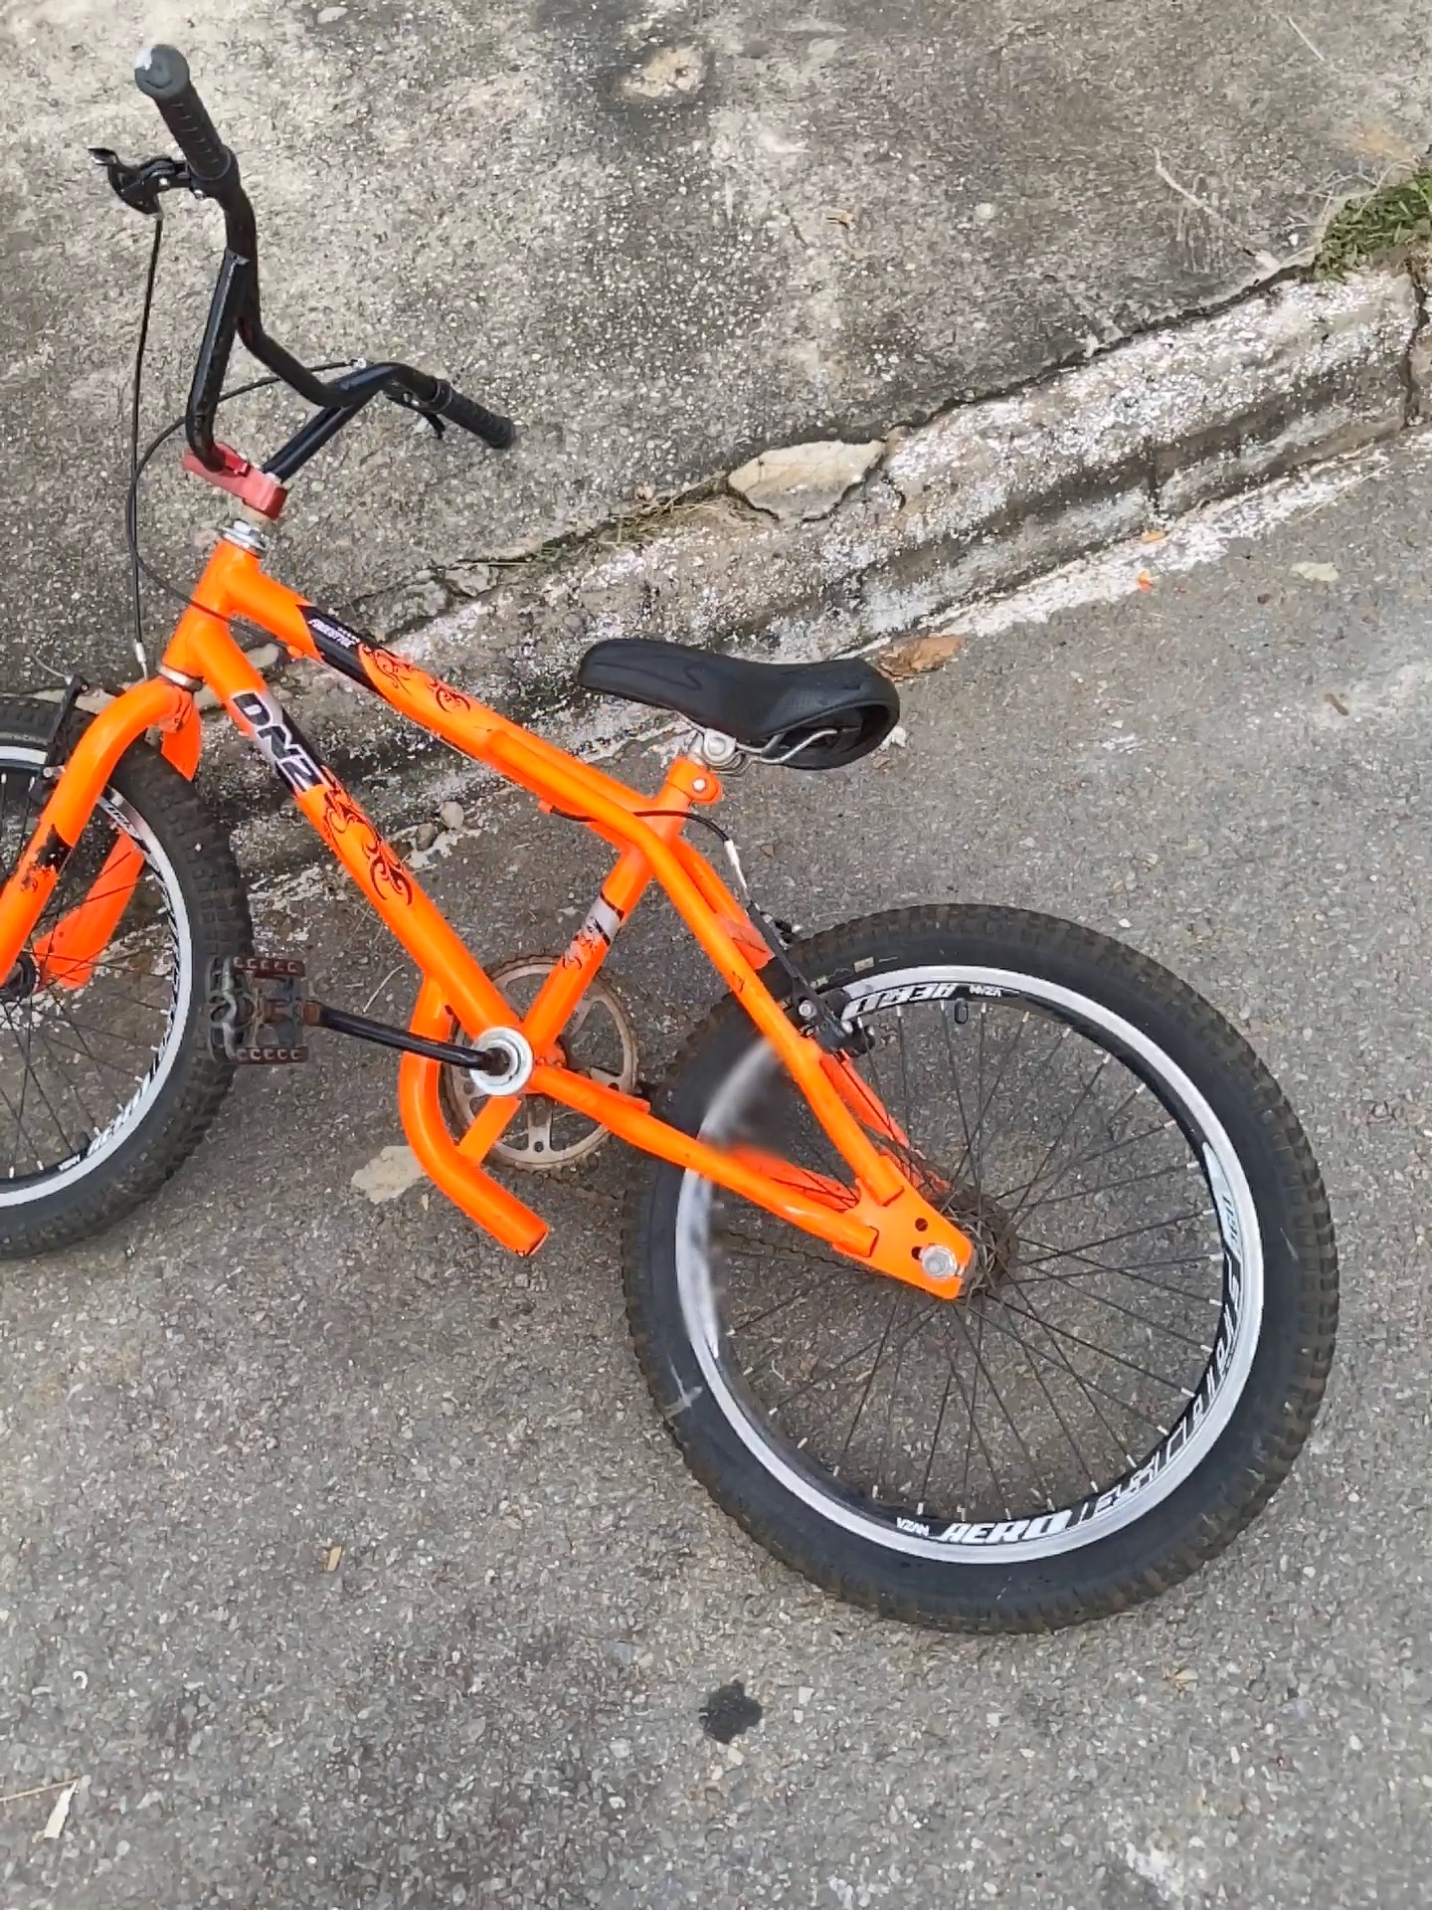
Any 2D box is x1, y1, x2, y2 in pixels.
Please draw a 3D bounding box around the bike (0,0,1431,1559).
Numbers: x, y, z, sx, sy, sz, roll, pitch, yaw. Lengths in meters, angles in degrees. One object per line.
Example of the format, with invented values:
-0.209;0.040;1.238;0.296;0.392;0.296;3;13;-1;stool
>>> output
-0.107;-0.259;1.161;1.354;0.858;0.748;17;59;19;bike
